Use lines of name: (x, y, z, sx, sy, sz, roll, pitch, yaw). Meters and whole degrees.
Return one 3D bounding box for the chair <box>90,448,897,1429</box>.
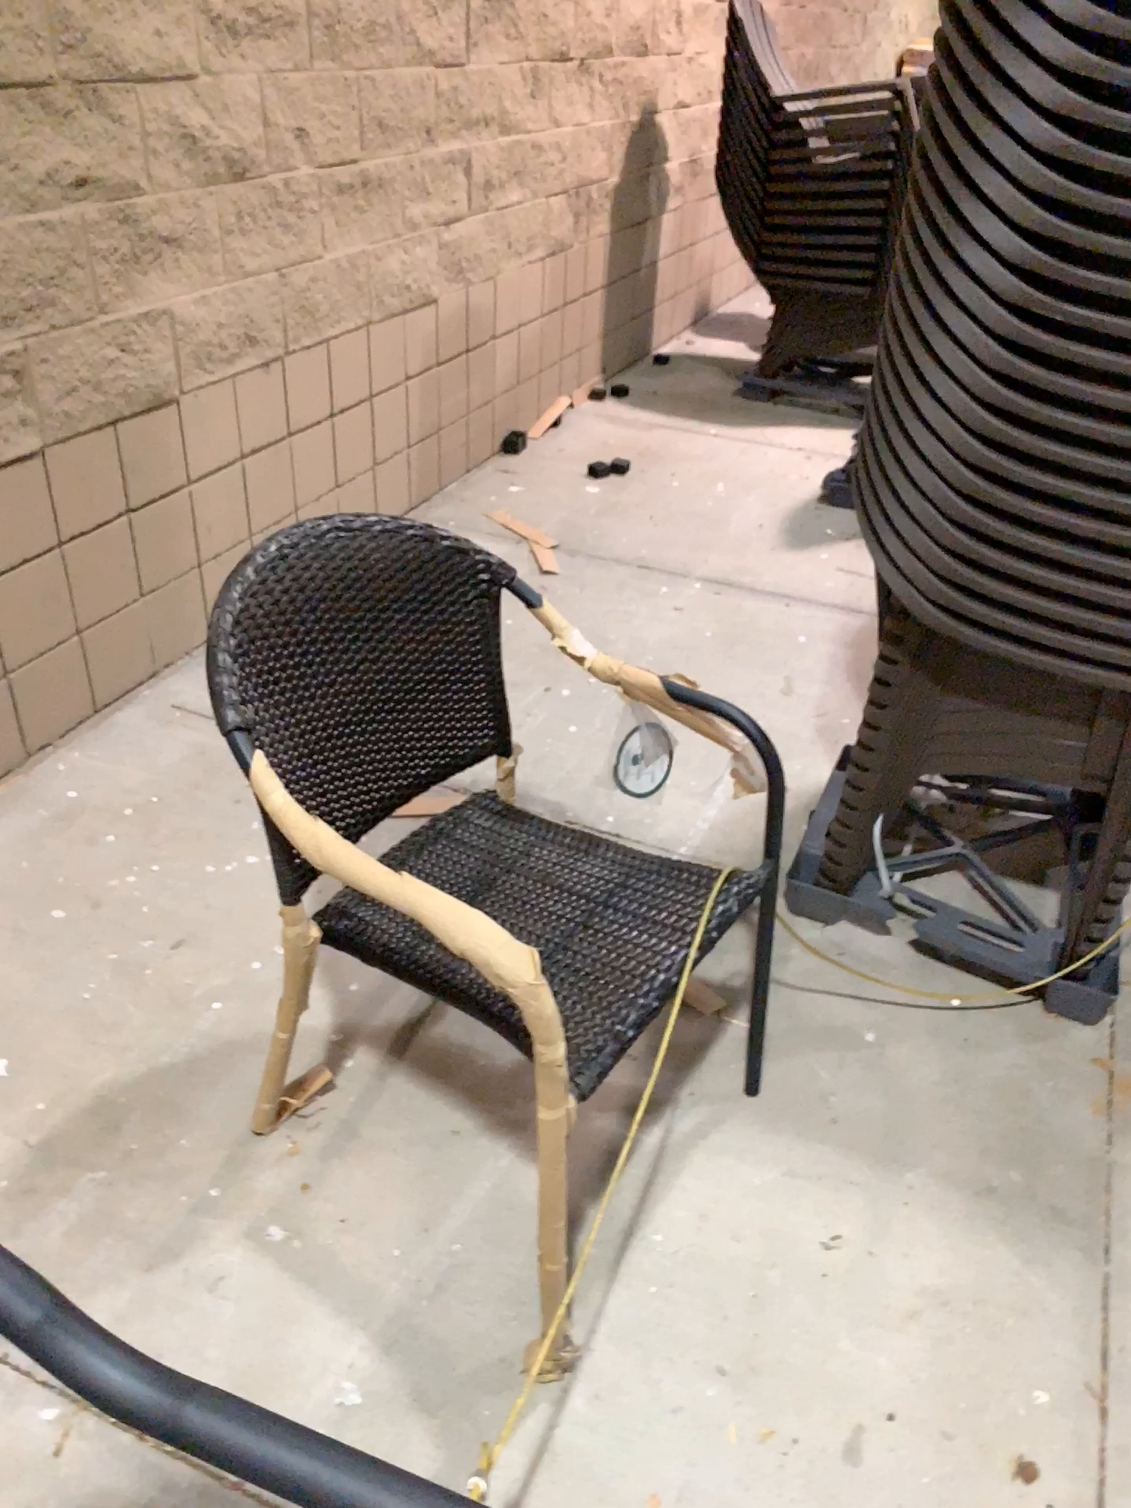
chair: (-0.063, 0.176, 1.407, 0.598, 0.840, 0.577, 21, 37, 26)
